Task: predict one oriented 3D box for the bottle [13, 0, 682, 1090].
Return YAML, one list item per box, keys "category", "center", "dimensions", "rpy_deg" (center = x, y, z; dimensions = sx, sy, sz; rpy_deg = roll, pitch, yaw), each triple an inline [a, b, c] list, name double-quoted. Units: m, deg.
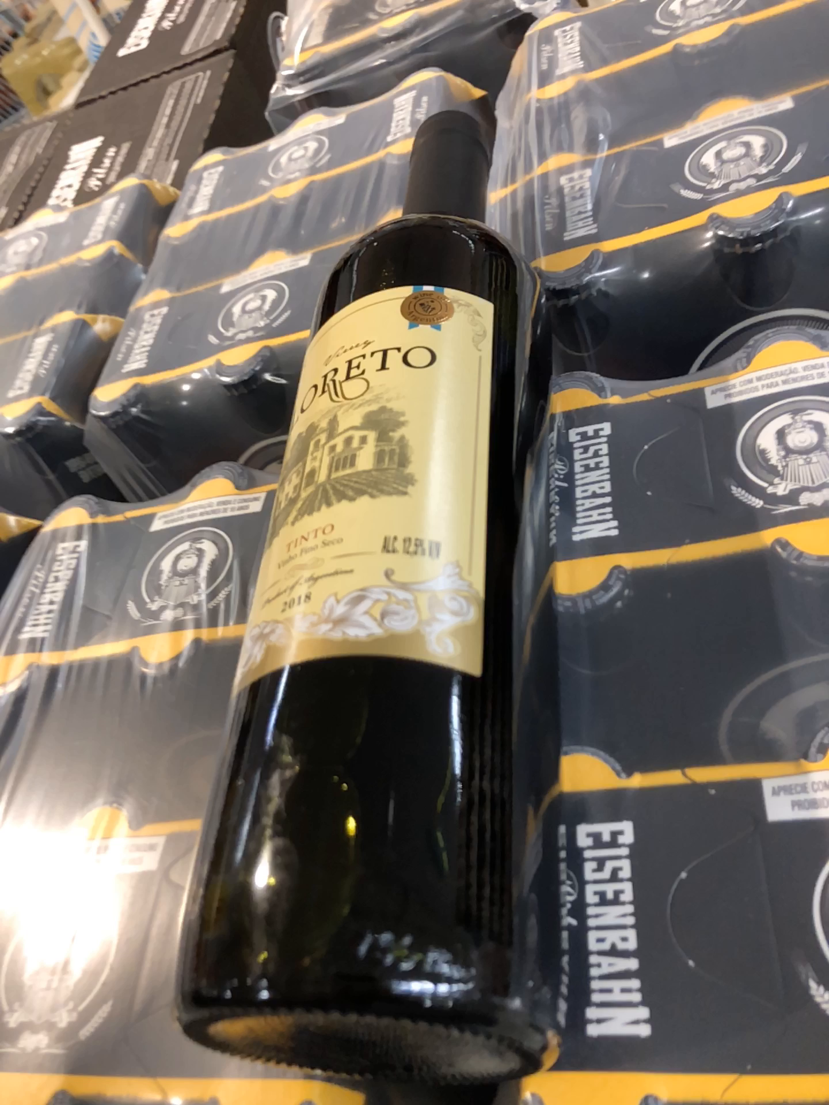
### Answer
- category: "bottle"
  center: [0.003, -0.048, 0.255]
  dimensions: [0.080, 0.080, 0.332]
  rpy_deg: [-20, 46, 29]
